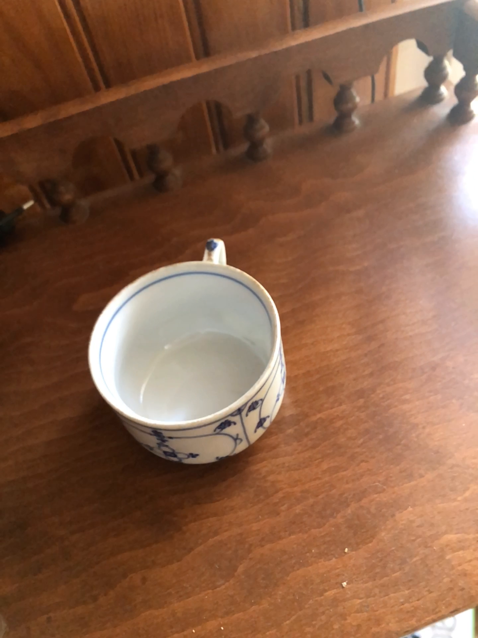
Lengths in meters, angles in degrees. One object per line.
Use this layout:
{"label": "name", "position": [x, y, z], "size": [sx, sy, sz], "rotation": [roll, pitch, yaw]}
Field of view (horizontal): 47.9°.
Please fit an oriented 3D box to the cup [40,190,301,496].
{"label": "cup", "position": [-0.019, 0.006, 0.242], "size": [0.080, 0.060, 0.121], "rotation": [2, 55, 12]}
